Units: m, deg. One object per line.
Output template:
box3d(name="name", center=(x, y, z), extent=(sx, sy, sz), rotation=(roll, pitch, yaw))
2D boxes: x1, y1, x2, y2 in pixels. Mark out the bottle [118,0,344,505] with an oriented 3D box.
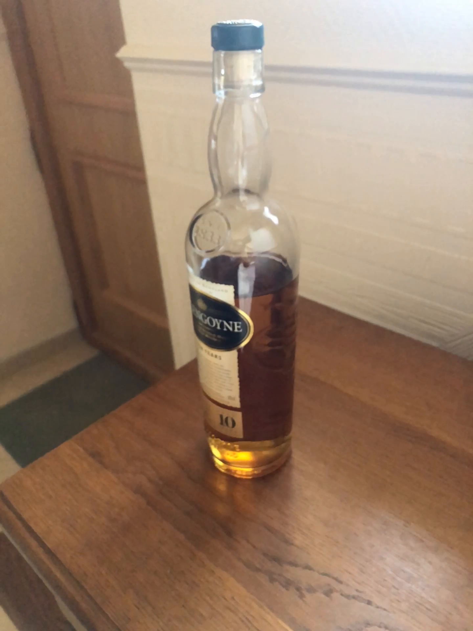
box3d(name="bottle", center=(0.005, -0.027, 0.362), extent=(0.080, 0.318, 0.090), rotation=(-28, 38, -33))
